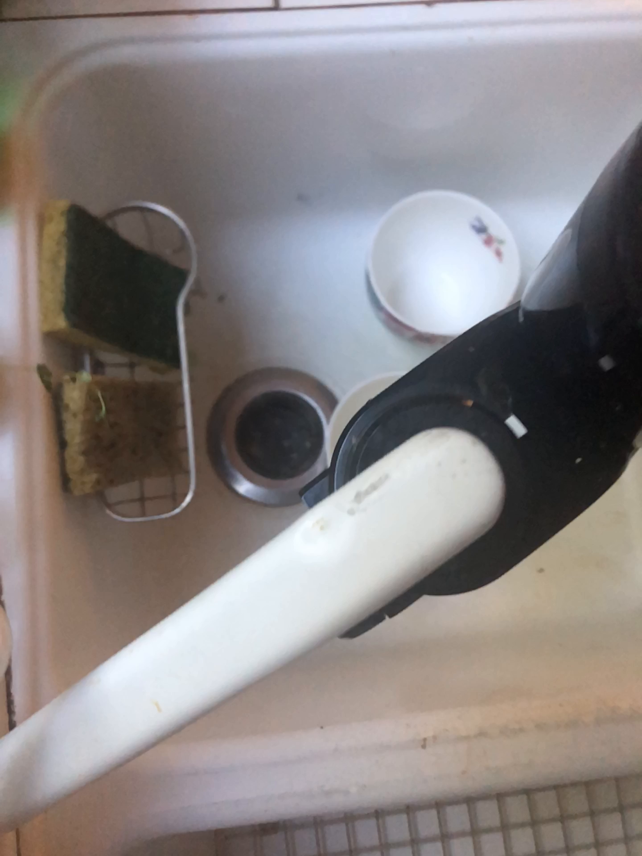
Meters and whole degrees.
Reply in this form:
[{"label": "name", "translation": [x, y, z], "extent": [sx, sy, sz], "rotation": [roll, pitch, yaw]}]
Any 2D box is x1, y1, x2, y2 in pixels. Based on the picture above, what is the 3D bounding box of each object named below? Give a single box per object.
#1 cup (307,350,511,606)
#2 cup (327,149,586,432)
[{"label": "cup", "translation": [0.055, 0.035, 0.474], "extent": [0.100, 0.070, 0.140], "rotation": [12, 79, -1]}, {"label": "cup", "translation": [0.088, -0.093, 0.503], "extent": [0.110, 0.070, 0.150], "rotation": [-24, 82, -8]}]
